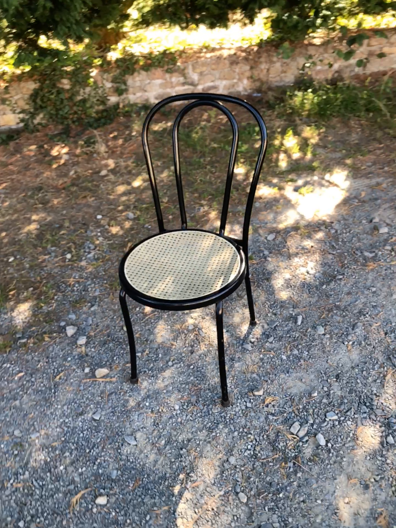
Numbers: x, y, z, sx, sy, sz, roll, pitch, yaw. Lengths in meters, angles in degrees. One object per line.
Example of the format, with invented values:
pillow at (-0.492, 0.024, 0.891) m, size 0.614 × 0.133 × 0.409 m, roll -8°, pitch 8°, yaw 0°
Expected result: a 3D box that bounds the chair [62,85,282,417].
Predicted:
chair at (-0.011, -0.041, 1.361) m, size 0.430 × 0.875 × 0.473 m, roll 8°, pitch 35°, yaw 17°
